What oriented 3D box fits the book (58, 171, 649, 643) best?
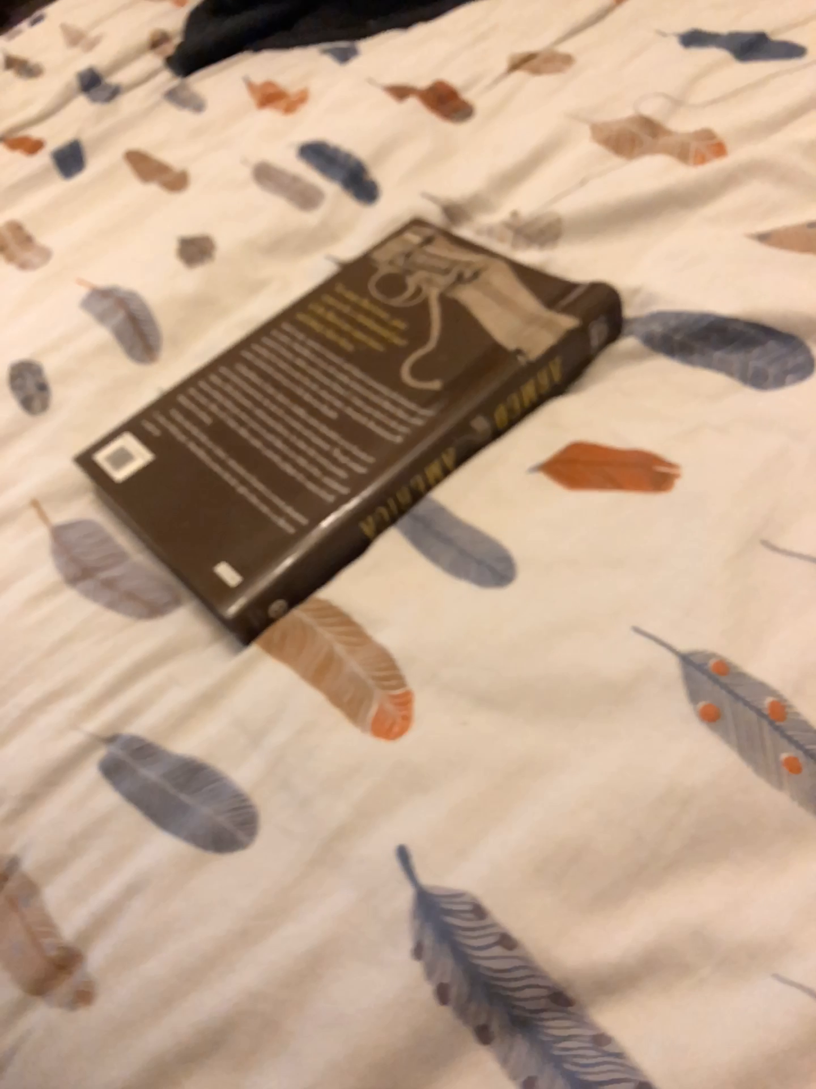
[{"bbox_3d":[-0.033,-0.088,0.455,0.240,0.030,0.181,-41,49,-14],"label":"book"}]
